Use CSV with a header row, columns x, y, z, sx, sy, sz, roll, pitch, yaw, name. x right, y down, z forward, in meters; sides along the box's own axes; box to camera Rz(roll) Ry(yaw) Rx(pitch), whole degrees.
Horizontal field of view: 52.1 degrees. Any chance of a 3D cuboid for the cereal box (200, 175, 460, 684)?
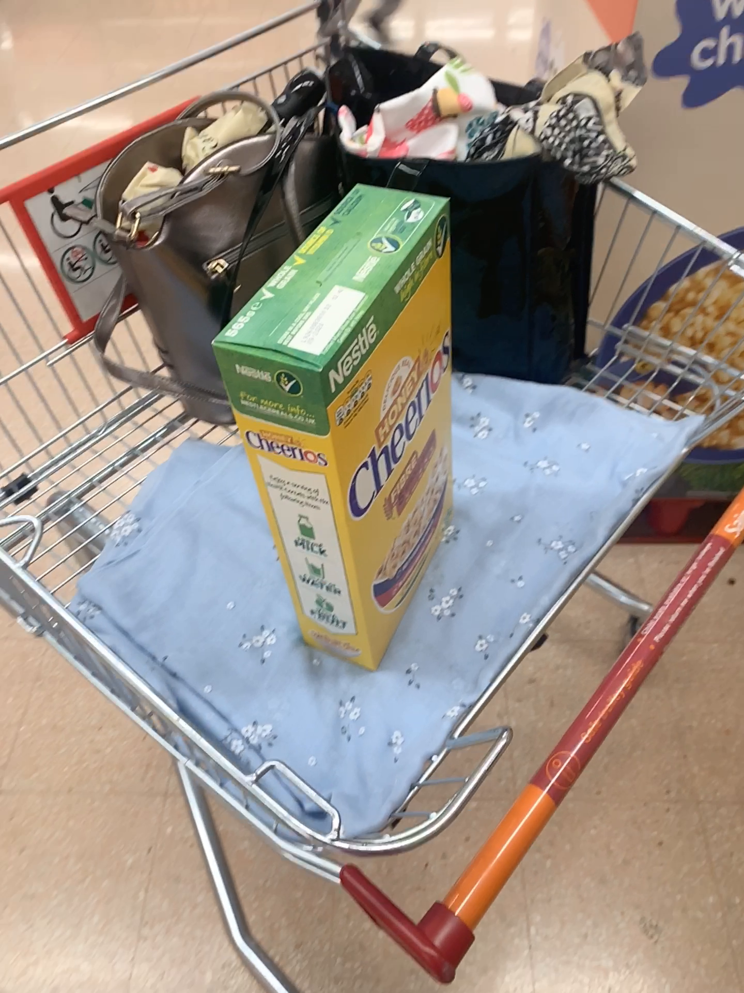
x,y,z,sx,sy,sz,roll,pitch,yaw,name
-0.006,-0.036,0.612,0.080,0.347,0.212,16,52,19,cereal box
